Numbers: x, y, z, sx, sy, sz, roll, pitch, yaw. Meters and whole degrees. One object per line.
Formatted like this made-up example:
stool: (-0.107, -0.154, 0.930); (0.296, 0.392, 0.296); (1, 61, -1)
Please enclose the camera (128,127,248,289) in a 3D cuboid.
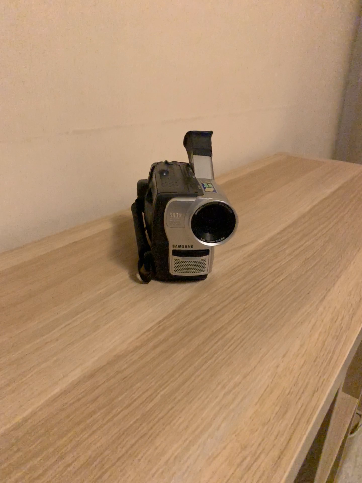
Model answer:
camera: (-0.008, -0.054, 0.439); (0.106, 0.133, 0.193); (-1, 23, -8)
